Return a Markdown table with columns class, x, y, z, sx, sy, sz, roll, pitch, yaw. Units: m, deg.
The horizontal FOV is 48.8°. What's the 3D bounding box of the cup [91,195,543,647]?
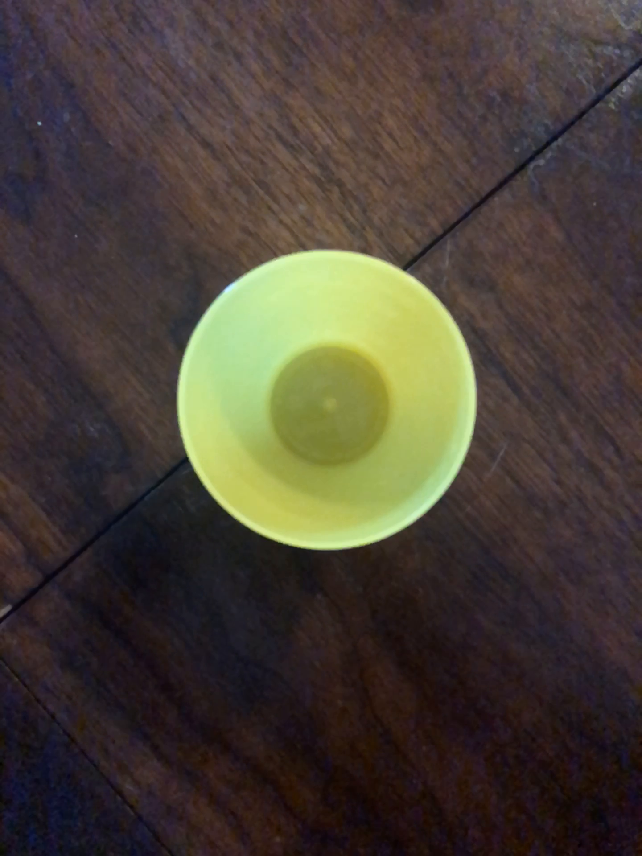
| class | x | y | z | sx | sy | sz | roll | pitch | yaw |
| --- | --- | --- | --- | --- | --- | --- | --- | --- | --- |
| cup | 0.000 | -0.002 | 0.215 | 0.080 | 0.080 | 0.080 | 0 | 91 | 2 |
